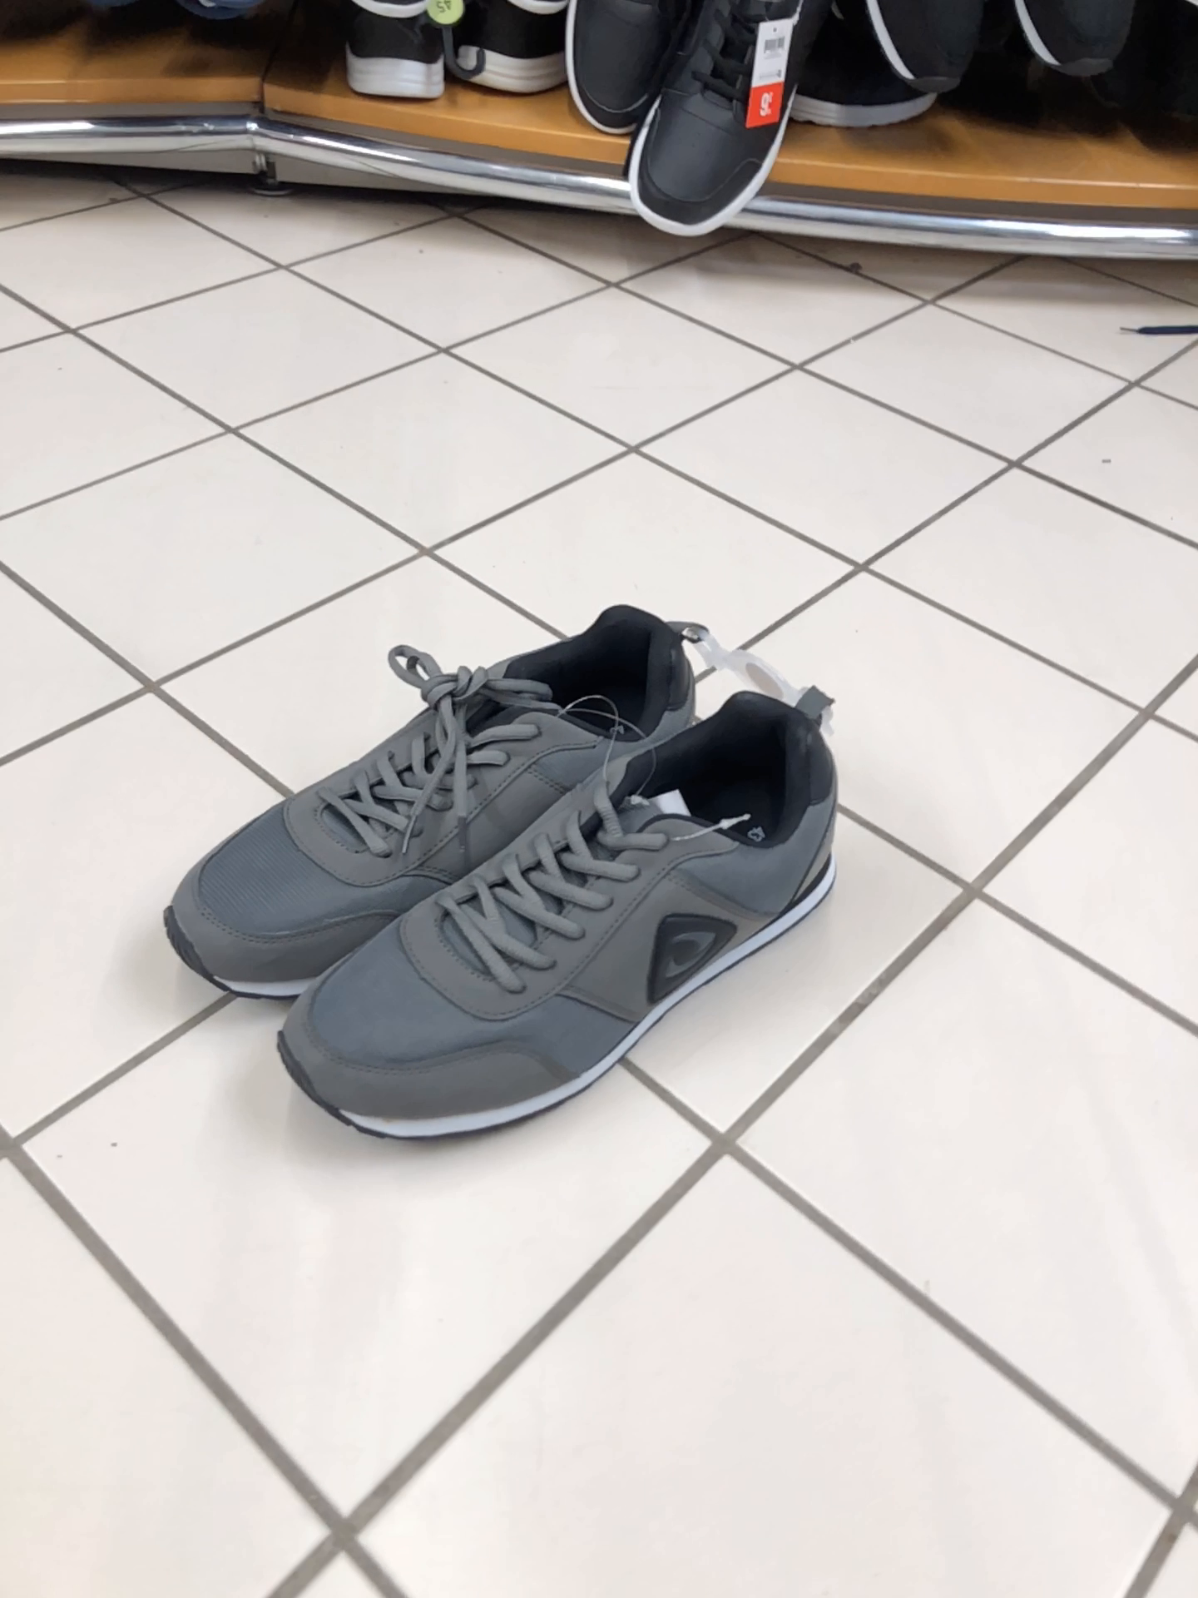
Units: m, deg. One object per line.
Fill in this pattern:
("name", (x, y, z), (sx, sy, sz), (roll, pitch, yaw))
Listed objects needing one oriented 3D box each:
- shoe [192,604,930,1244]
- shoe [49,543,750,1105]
("shoe", (-0.004, 0.035, 0.540), (0.292, 0.099, 0.100), (-30, 54, -32))
("shoe", (-0.074, -0.003, 0.591), (0.292, 0.099, 0.100), (-30, 54, -32))
